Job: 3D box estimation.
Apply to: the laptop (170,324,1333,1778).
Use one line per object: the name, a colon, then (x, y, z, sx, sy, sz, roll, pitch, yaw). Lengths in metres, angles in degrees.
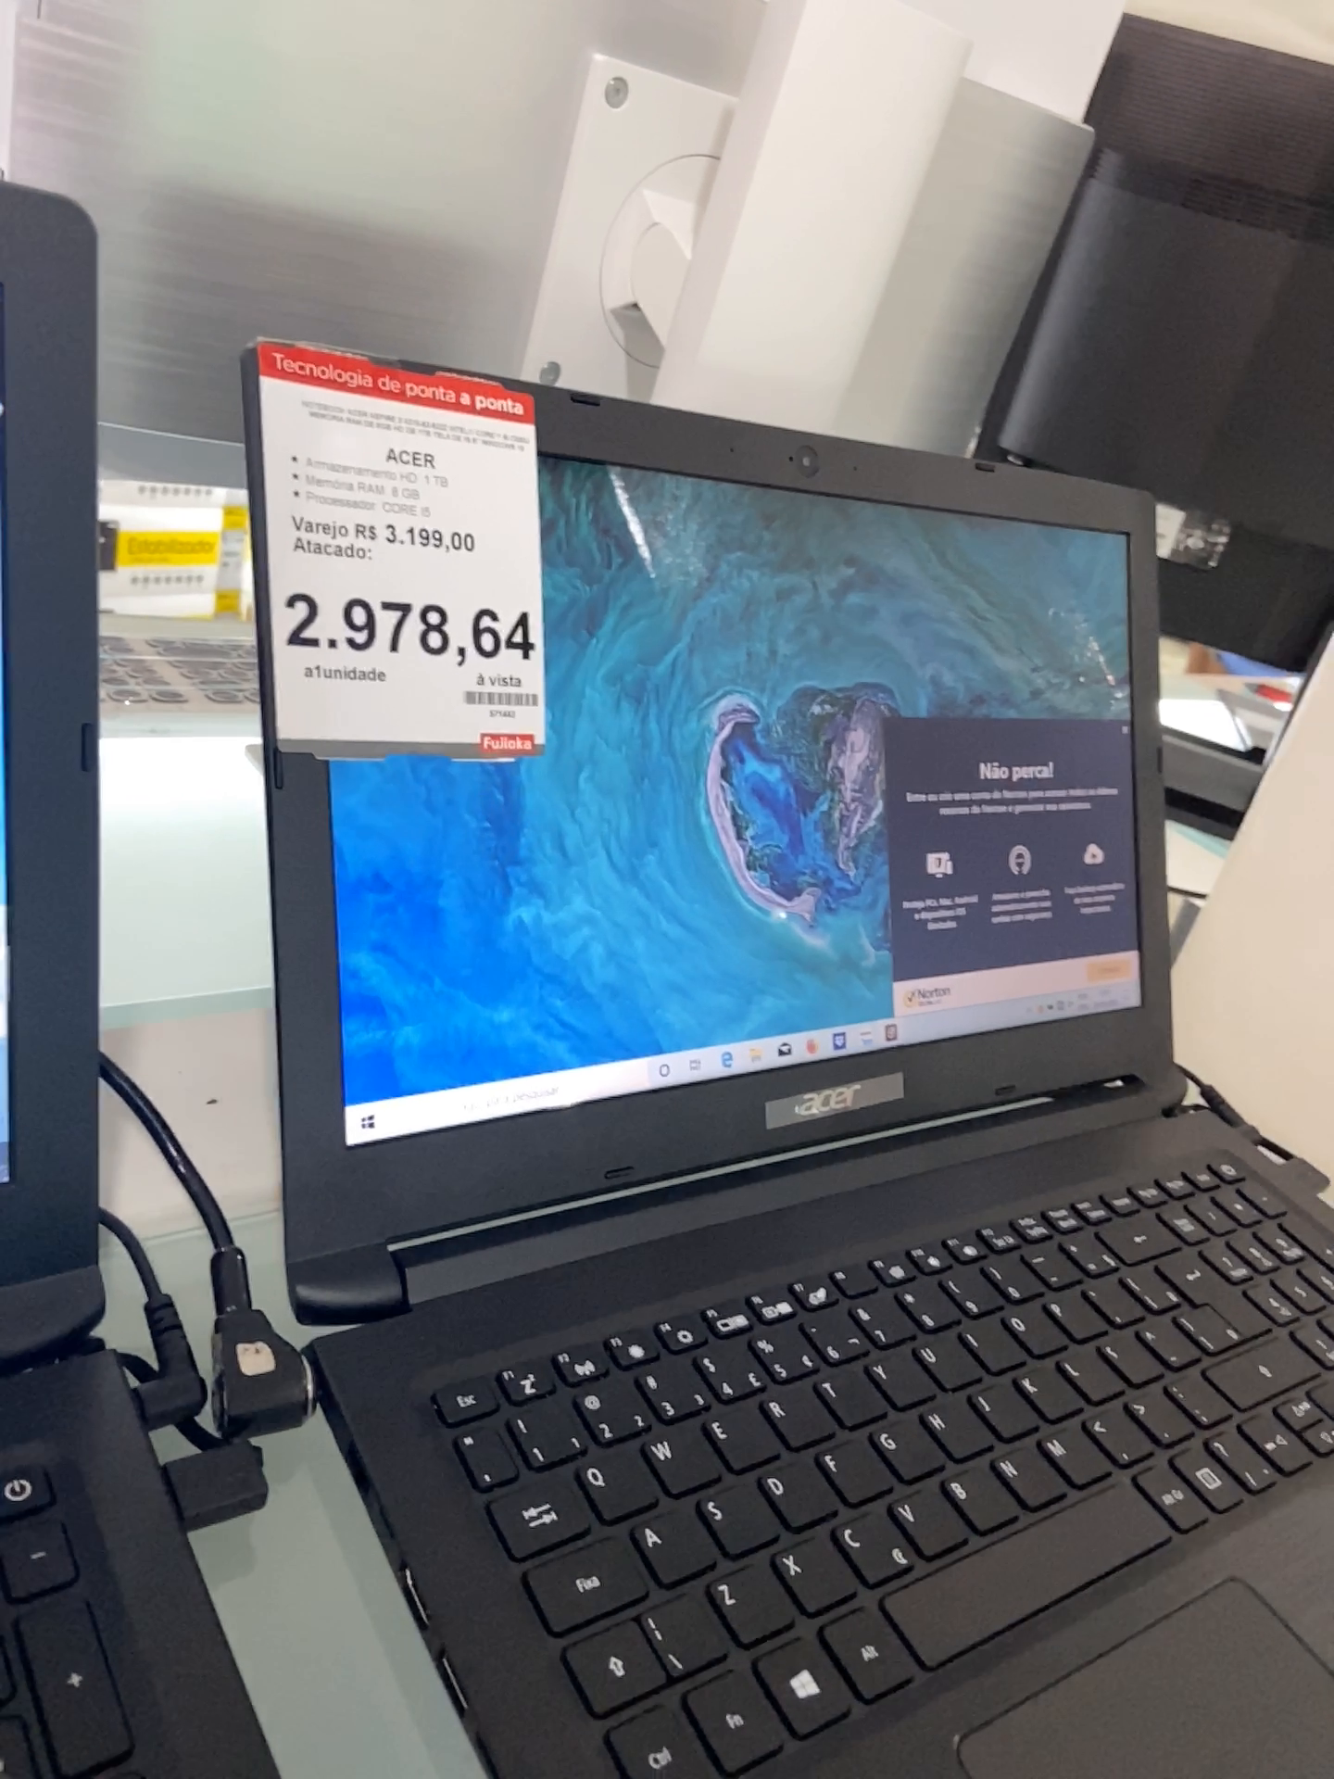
laptop: (0.115, 0.032, 0.368, 0.370, 0.205, 0.376, -3, 32, -35)
